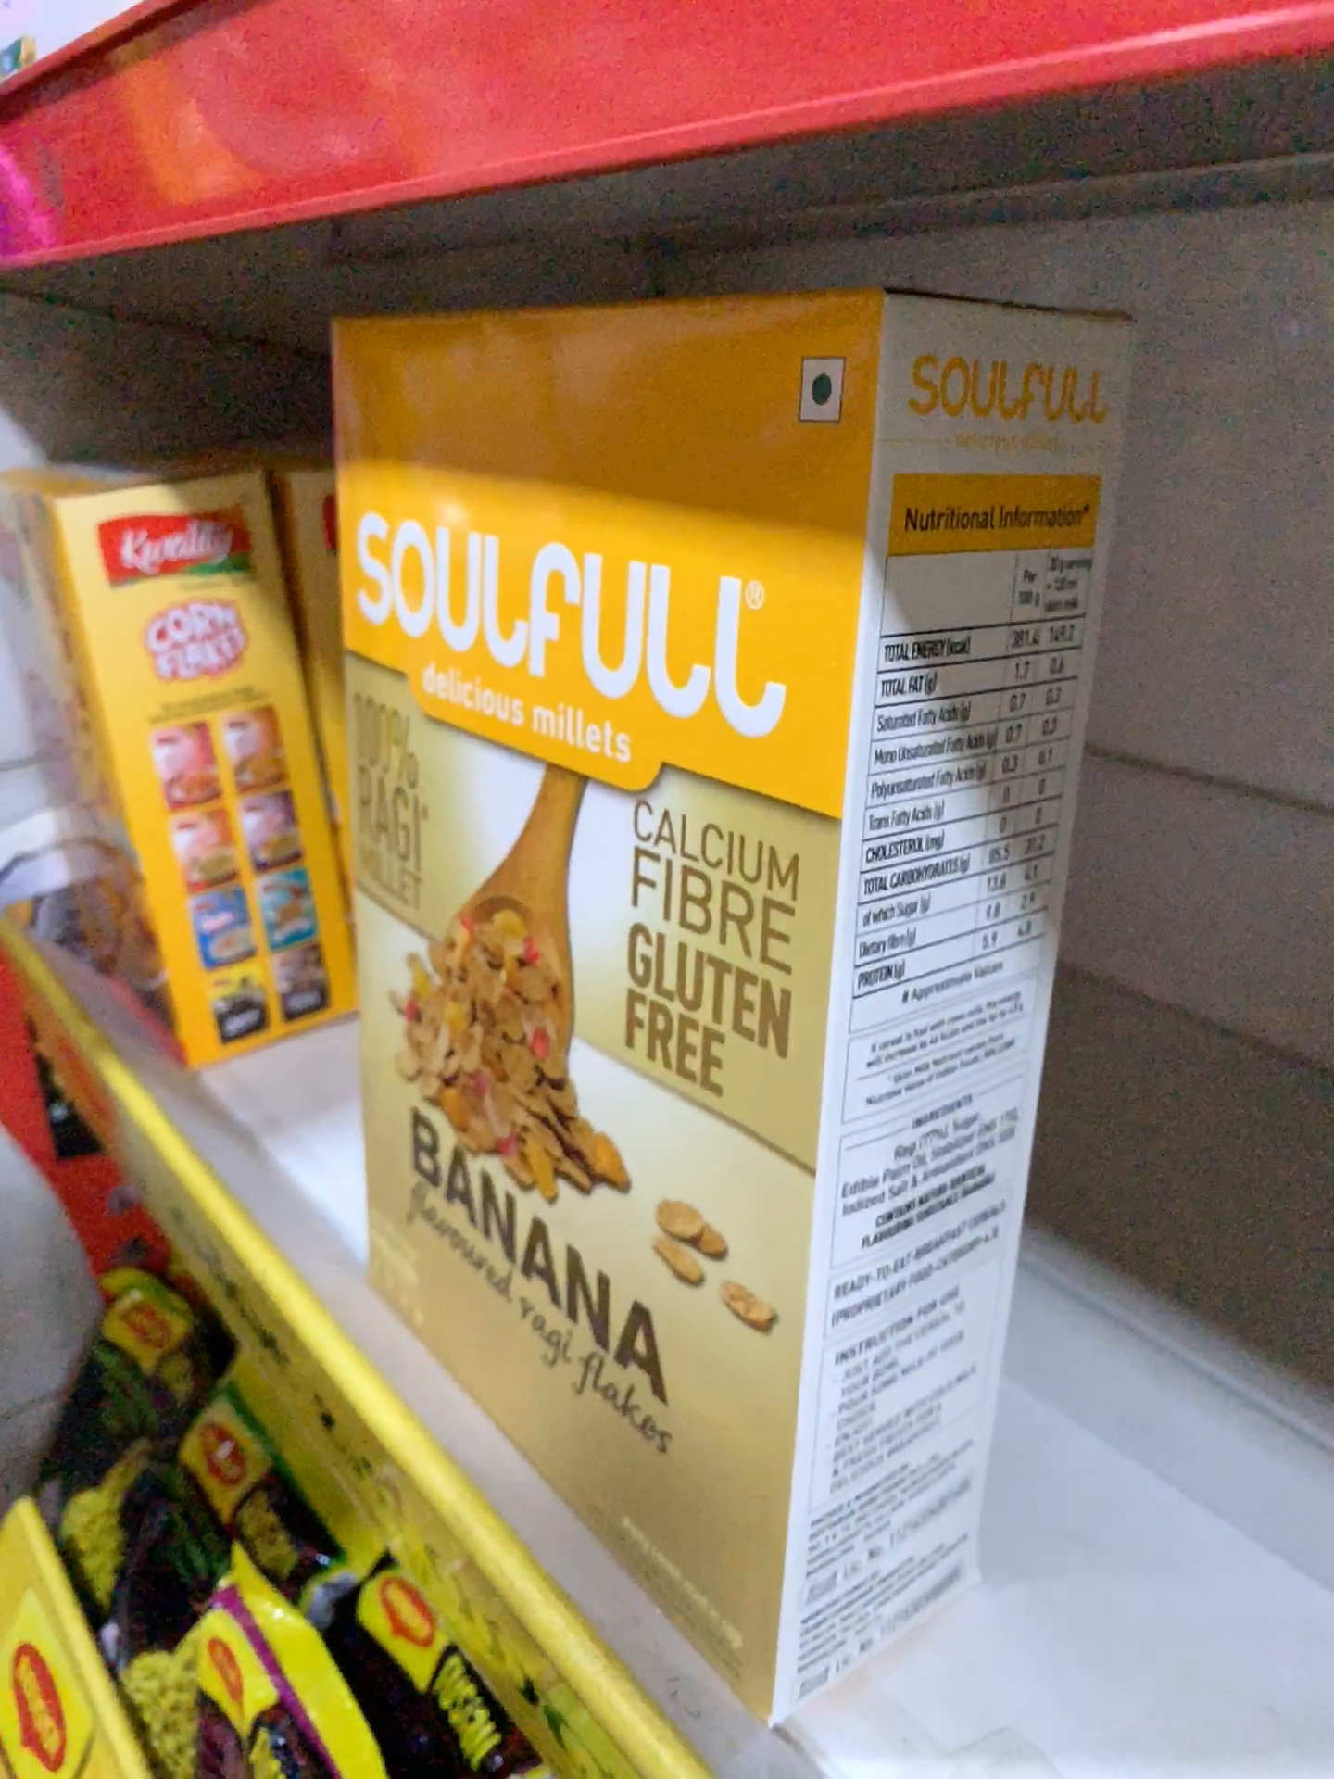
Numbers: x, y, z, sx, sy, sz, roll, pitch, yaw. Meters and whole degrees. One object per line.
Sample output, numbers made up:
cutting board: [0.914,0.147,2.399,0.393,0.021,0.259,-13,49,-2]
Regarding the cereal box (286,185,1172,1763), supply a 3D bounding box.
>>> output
cereal box: [-0.008,0.004,0.268,0.060,0.229,0.161,-11,22,-36]
